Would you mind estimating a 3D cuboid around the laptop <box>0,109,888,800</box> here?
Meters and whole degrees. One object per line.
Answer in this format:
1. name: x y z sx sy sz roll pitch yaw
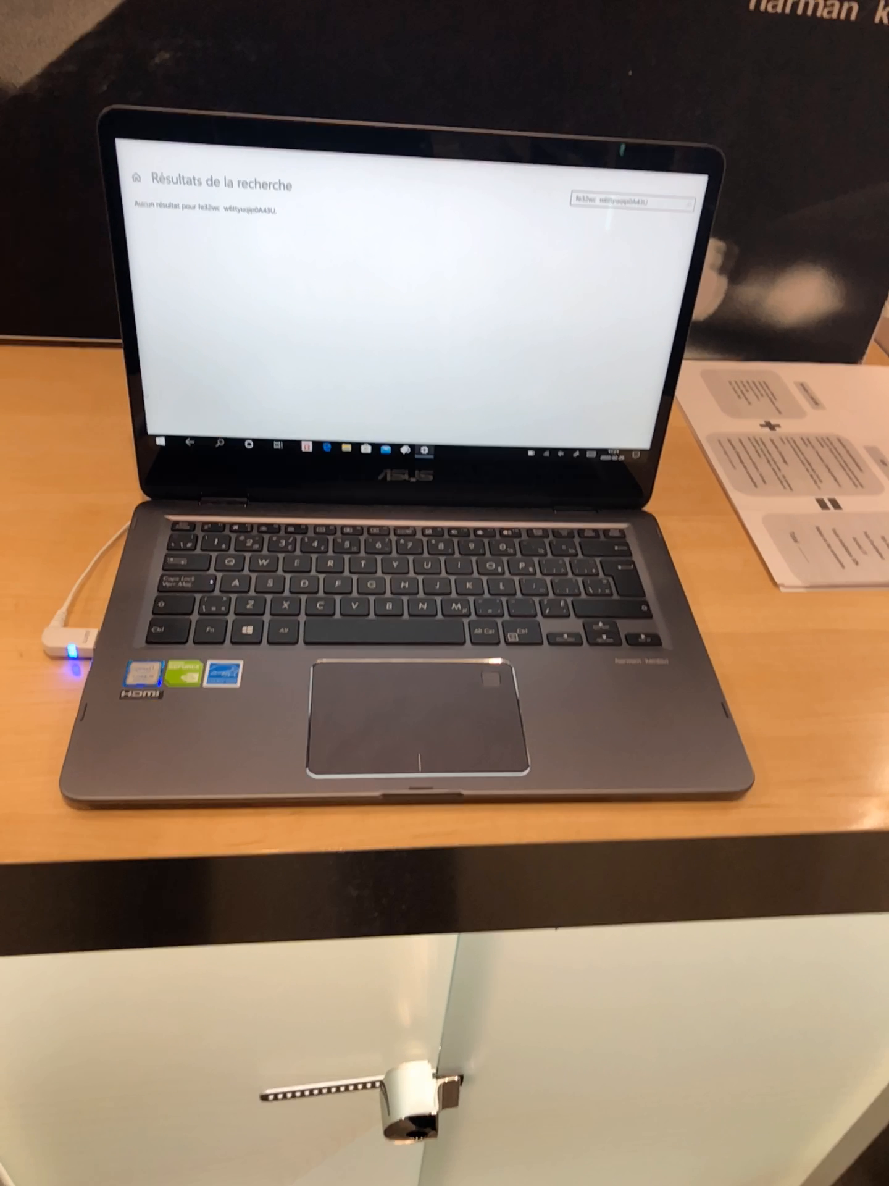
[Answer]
1. laptop: -0.009 -0.069 0.475 0.320 0.224 0.240 1 41 -6
